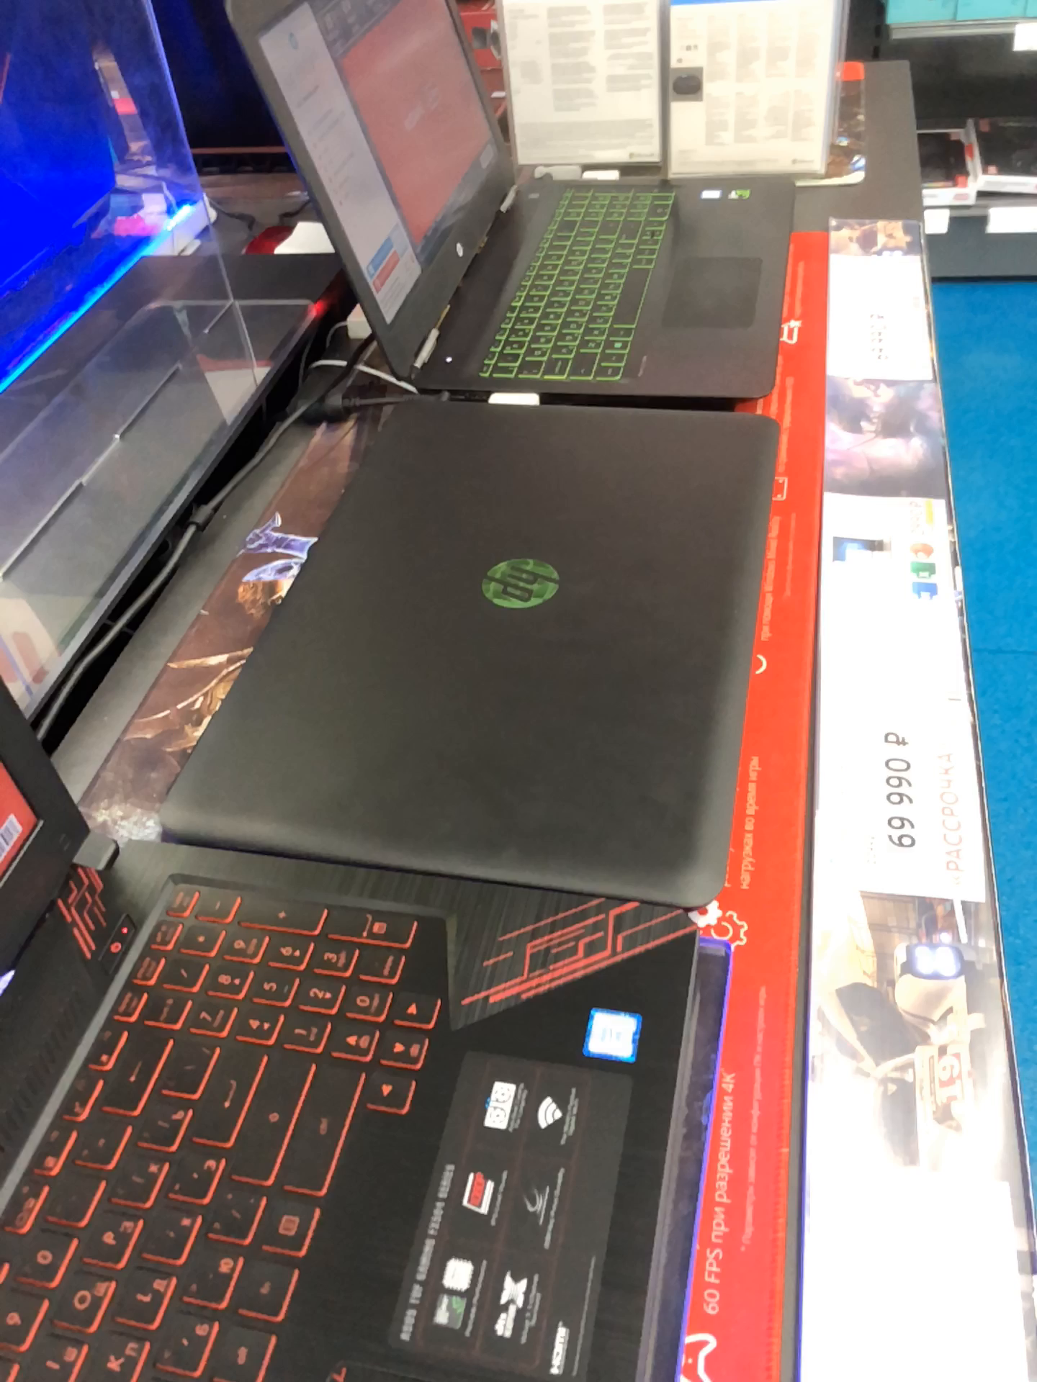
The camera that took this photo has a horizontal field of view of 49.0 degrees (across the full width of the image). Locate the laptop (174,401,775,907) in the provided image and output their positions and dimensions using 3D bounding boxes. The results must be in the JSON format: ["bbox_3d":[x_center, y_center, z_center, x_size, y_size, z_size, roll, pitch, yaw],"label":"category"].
[{"bbox_3d":[0.006,-0.053,0.602,0.232,0.012,0.367,6,43,11],"label":"laptop"}]
